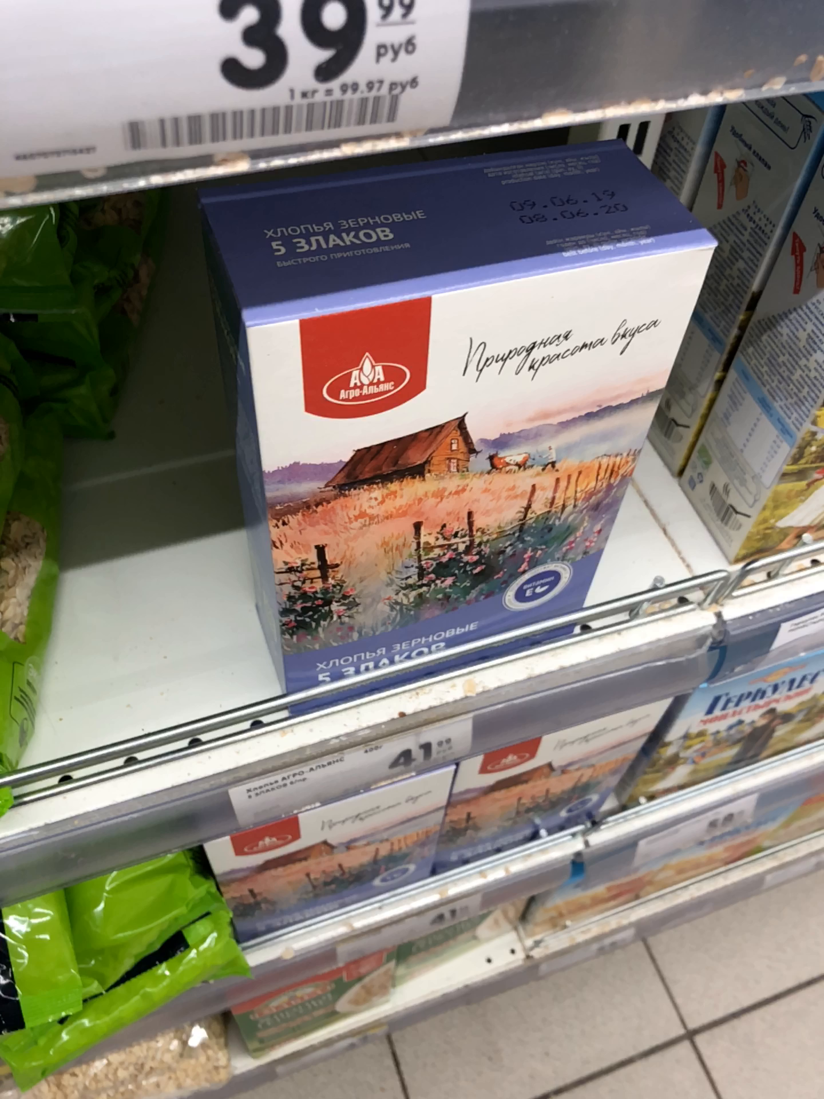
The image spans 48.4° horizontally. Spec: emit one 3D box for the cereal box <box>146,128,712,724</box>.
[{"bbox_3d":[0.000,-0.029,0.325,0.140,0.199,0.060,-14,55,-14],"label":"cereal box"}]
